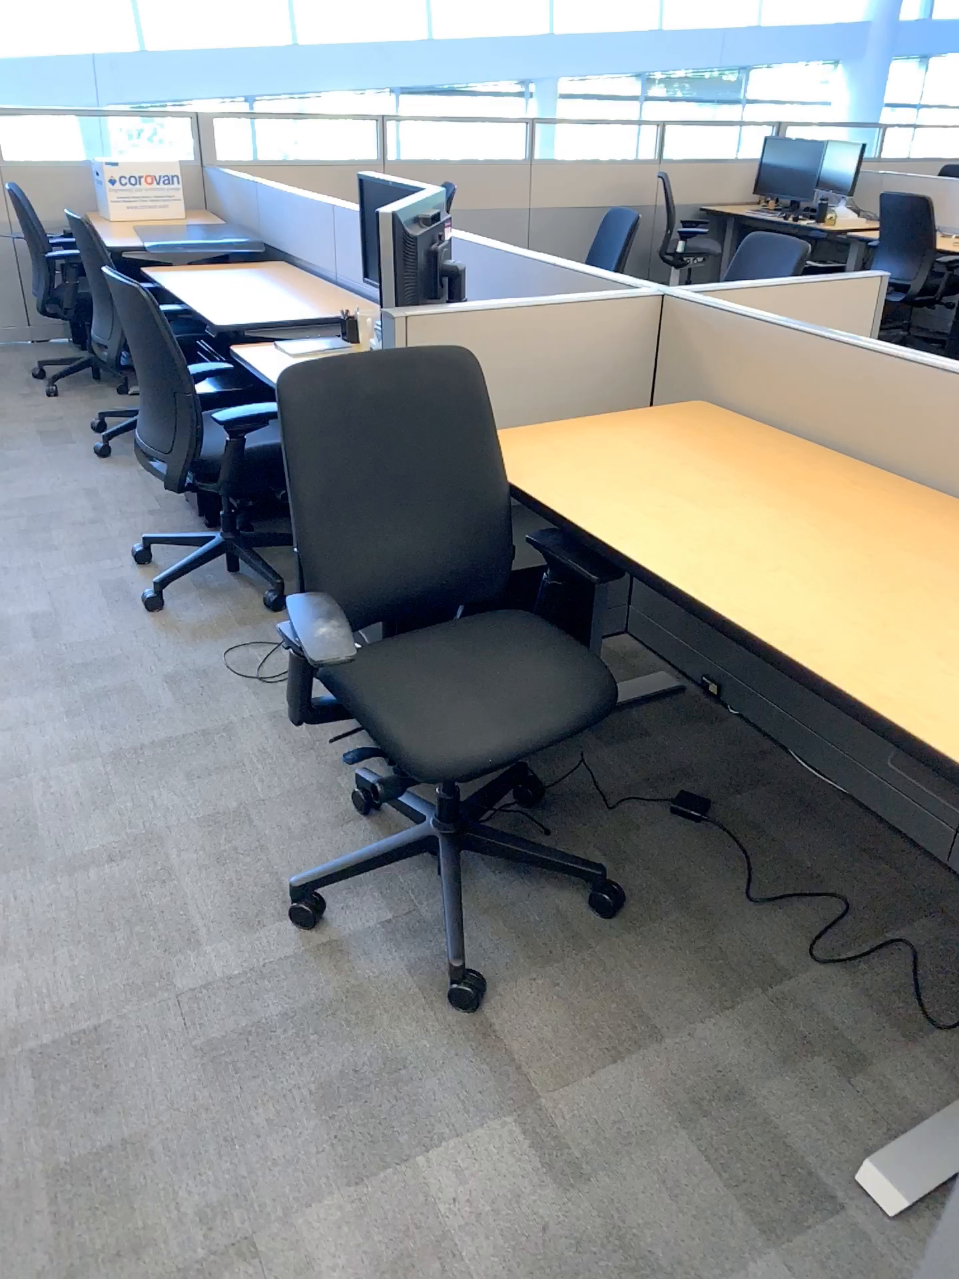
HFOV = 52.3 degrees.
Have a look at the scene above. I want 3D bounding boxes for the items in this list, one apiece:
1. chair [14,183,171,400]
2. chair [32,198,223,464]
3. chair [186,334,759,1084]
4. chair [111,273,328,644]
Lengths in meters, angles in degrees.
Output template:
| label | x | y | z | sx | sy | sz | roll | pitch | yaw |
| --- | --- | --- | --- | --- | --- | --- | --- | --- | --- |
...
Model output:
| label | x | y | z | sx | sy | sz | roll | pitch | yaw |
| --- | --- | --- | --- | --- | --- | --- | --- | --- | --- |
| chair | -2.034 | -1.862 | 5.201 | 0.600 | 0.994 | 0.564 | -8 | 30 | -17 |
| chair | -1.534 | -1.371 | 4.301 | 0.580 | 0.994 | 0.523 | -13 | 32 | -24 |
| chair | -0.073 | 0.056 | 1.778 | 0.630 | 0.994 | 0.765 | -13 | 32 | -24 |
| chair | -0.814 | -0.587 | 3.108 | 0.460 | 0.994 | 0.543 | -12 | 32 | -24 |
